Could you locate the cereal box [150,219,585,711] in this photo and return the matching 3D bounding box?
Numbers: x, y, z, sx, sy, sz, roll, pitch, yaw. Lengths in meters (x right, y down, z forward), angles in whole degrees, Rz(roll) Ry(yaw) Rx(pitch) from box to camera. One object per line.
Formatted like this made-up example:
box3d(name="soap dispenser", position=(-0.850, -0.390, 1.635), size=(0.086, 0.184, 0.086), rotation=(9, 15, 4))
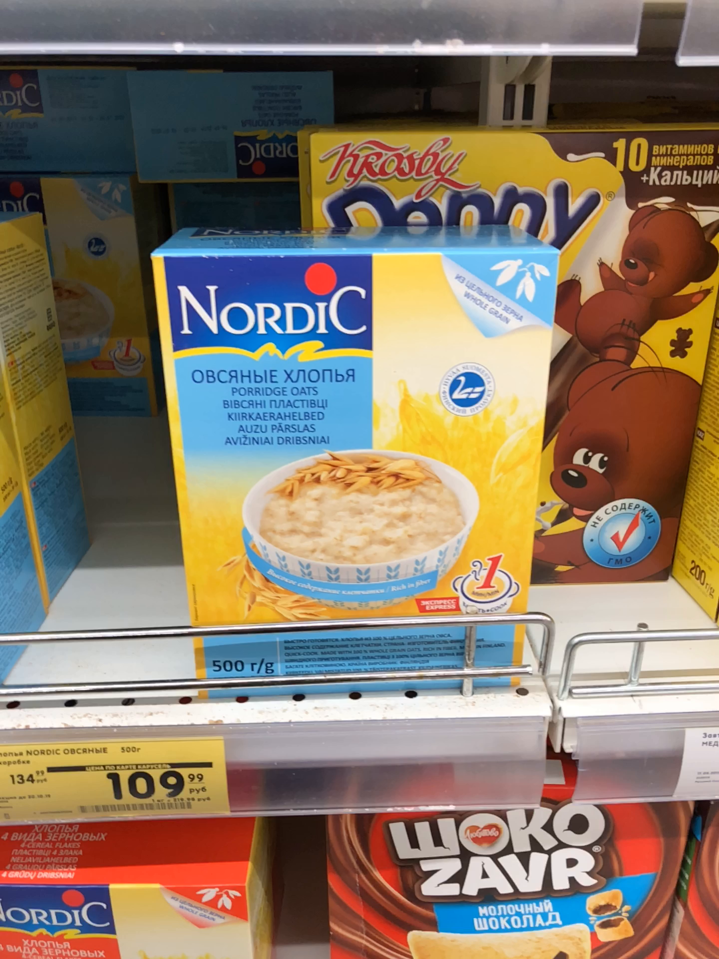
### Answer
box3d(name="cereal box", position=(0.003, -0.004, 0.347), size=(0.150, 0.199, 0.070), rotation=(-1, 24, -2))
